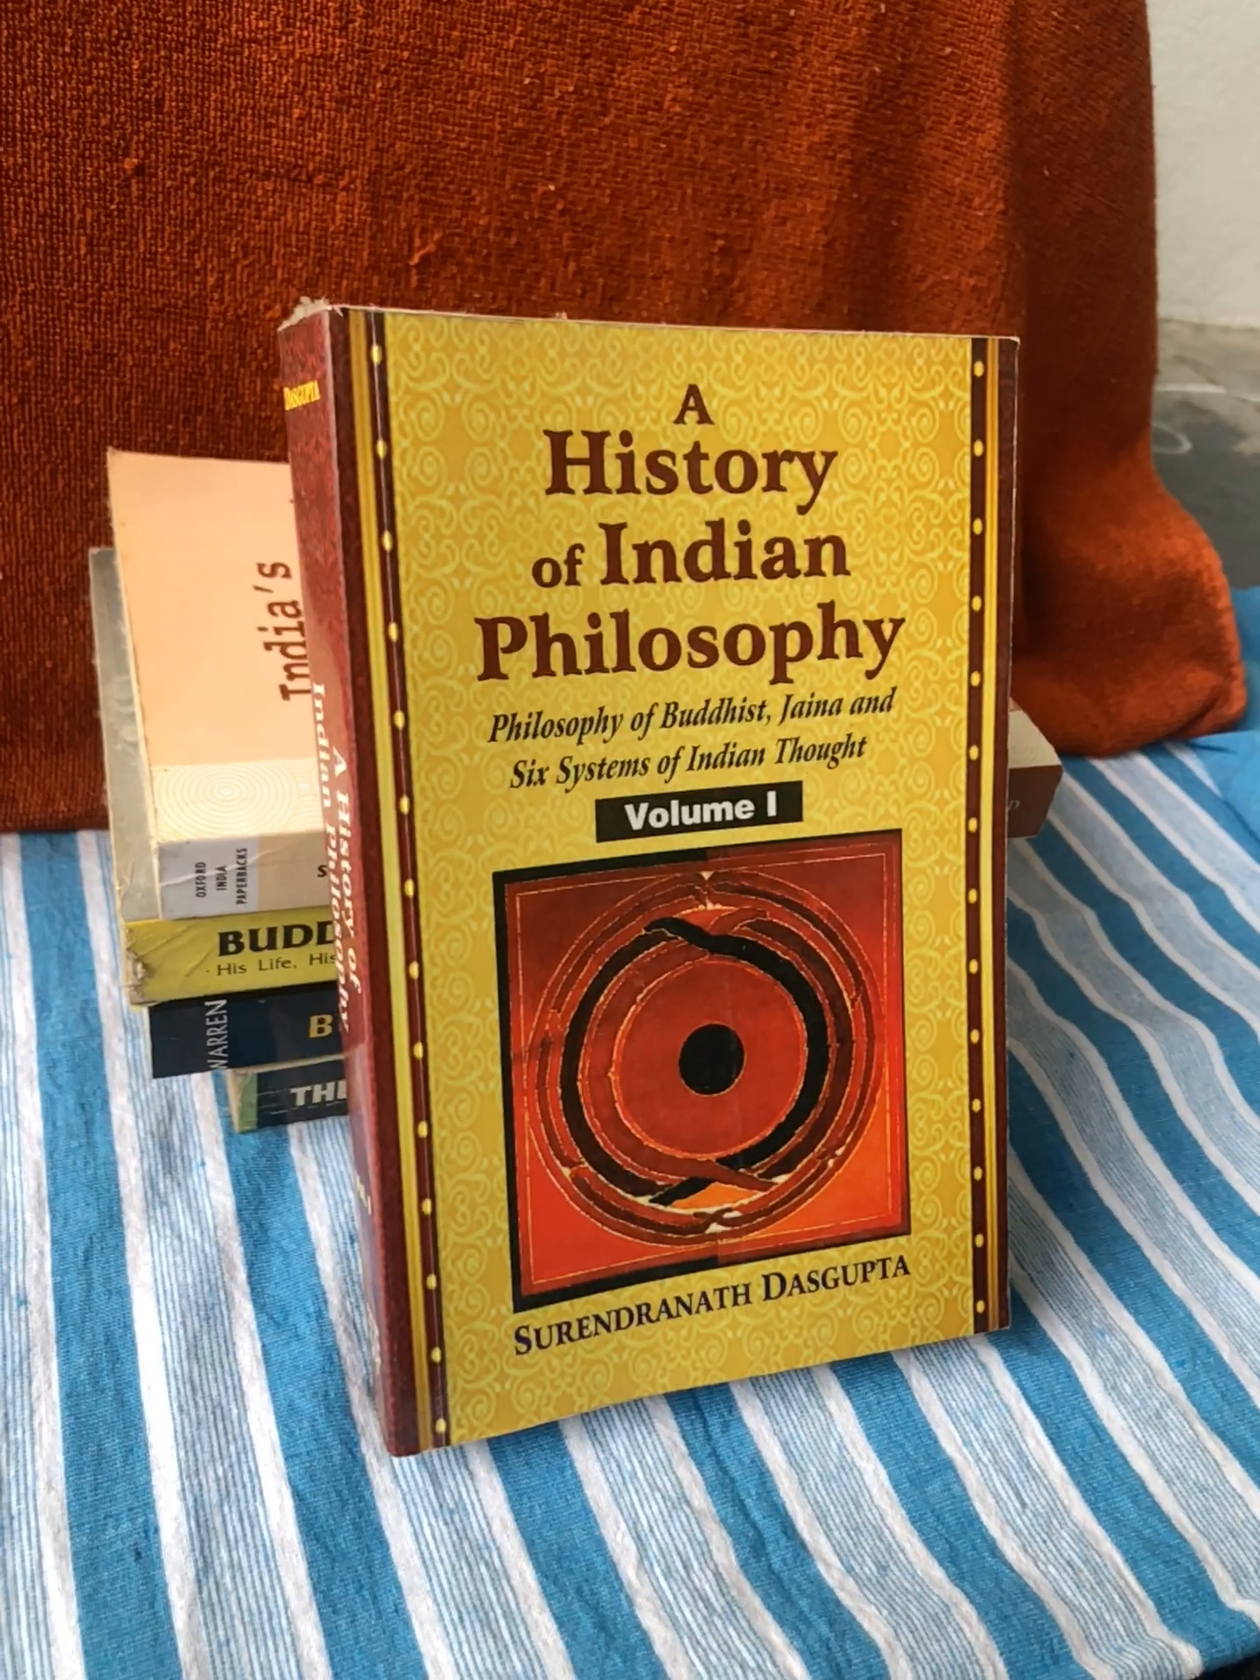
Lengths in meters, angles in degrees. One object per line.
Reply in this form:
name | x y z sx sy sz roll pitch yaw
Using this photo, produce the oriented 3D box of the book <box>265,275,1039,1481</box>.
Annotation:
book | 0.008 0.004 0.289 0.141 0.216 0.048 -6 11 -17
